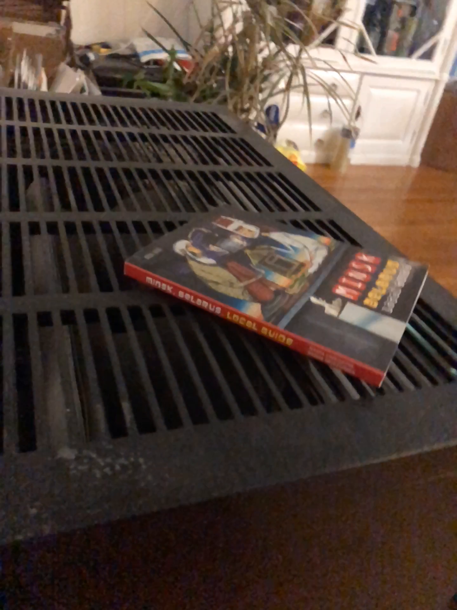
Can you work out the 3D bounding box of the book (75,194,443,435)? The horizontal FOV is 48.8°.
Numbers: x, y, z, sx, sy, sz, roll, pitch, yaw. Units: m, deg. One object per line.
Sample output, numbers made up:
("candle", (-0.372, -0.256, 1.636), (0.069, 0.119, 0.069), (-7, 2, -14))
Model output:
("book", (0.029, -0.015, 0.343), (0.200, 0.020, 0.161), (23, 36, 19))
